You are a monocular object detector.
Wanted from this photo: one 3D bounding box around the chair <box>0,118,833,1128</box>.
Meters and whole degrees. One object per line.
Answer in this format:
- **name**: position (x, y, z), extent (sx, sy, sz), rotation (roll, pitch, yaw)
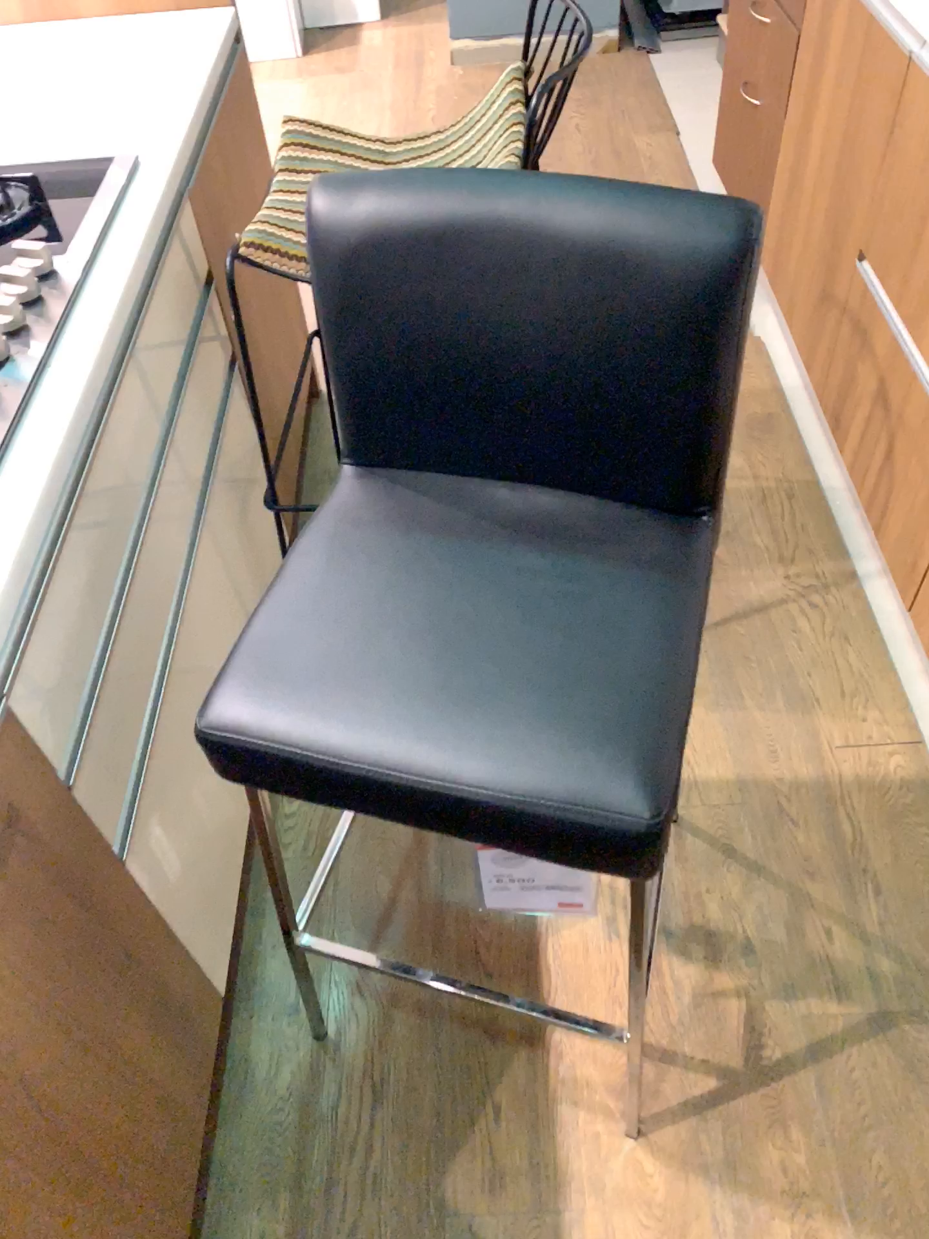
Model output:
- **chair**: position (0.027, 0.094, 1.062), extent (0.500, 1.027, 0.521), rotation (10, 51, 13)
